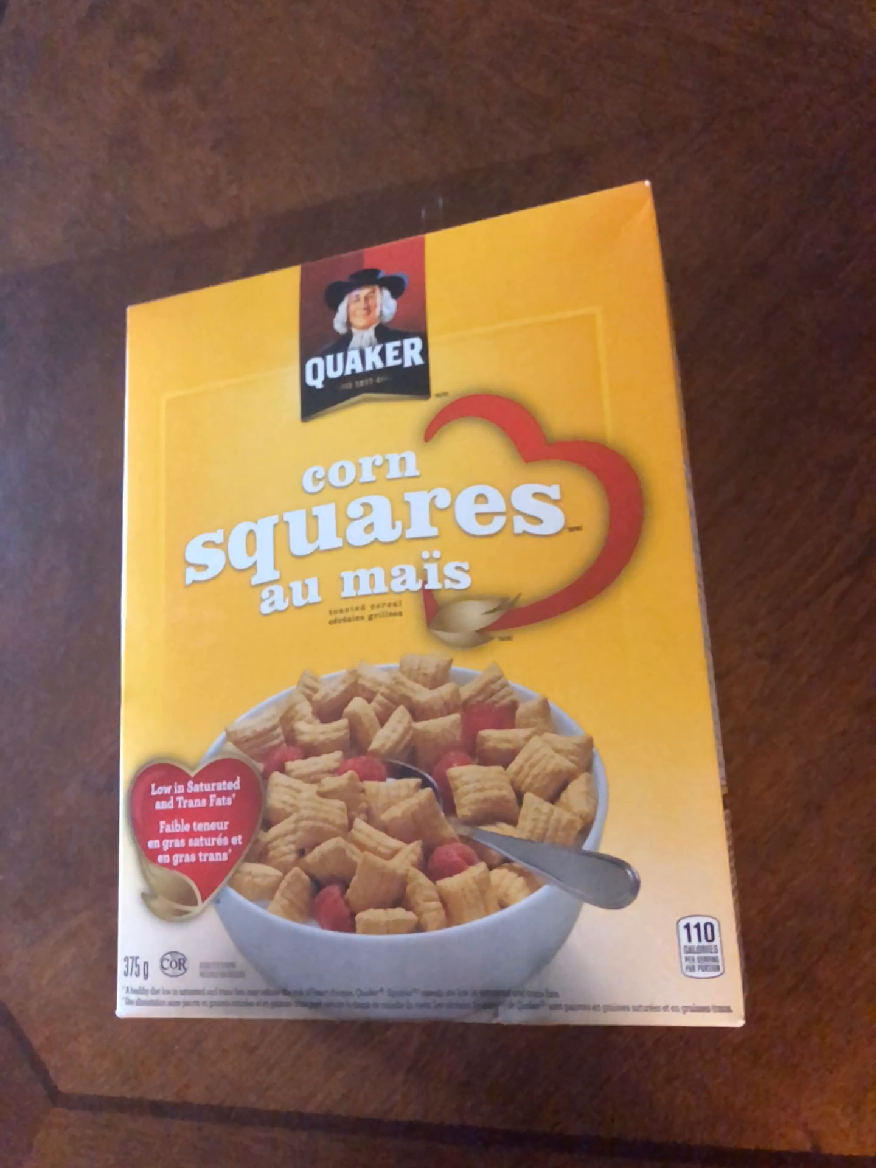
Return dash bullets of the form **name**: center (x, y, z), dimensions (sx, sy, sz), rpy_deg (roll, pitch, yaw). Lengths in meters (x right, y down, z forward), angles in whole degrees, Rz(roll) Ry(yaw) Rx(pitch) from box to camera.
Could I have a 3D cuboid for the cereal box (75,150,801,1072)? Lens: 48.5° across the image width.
- **cereal box**: center (-0.012, 0.011, 0.333), dimensions (0.220, 0.050, 0.270), rpy_deg (-7, 77, 16)
